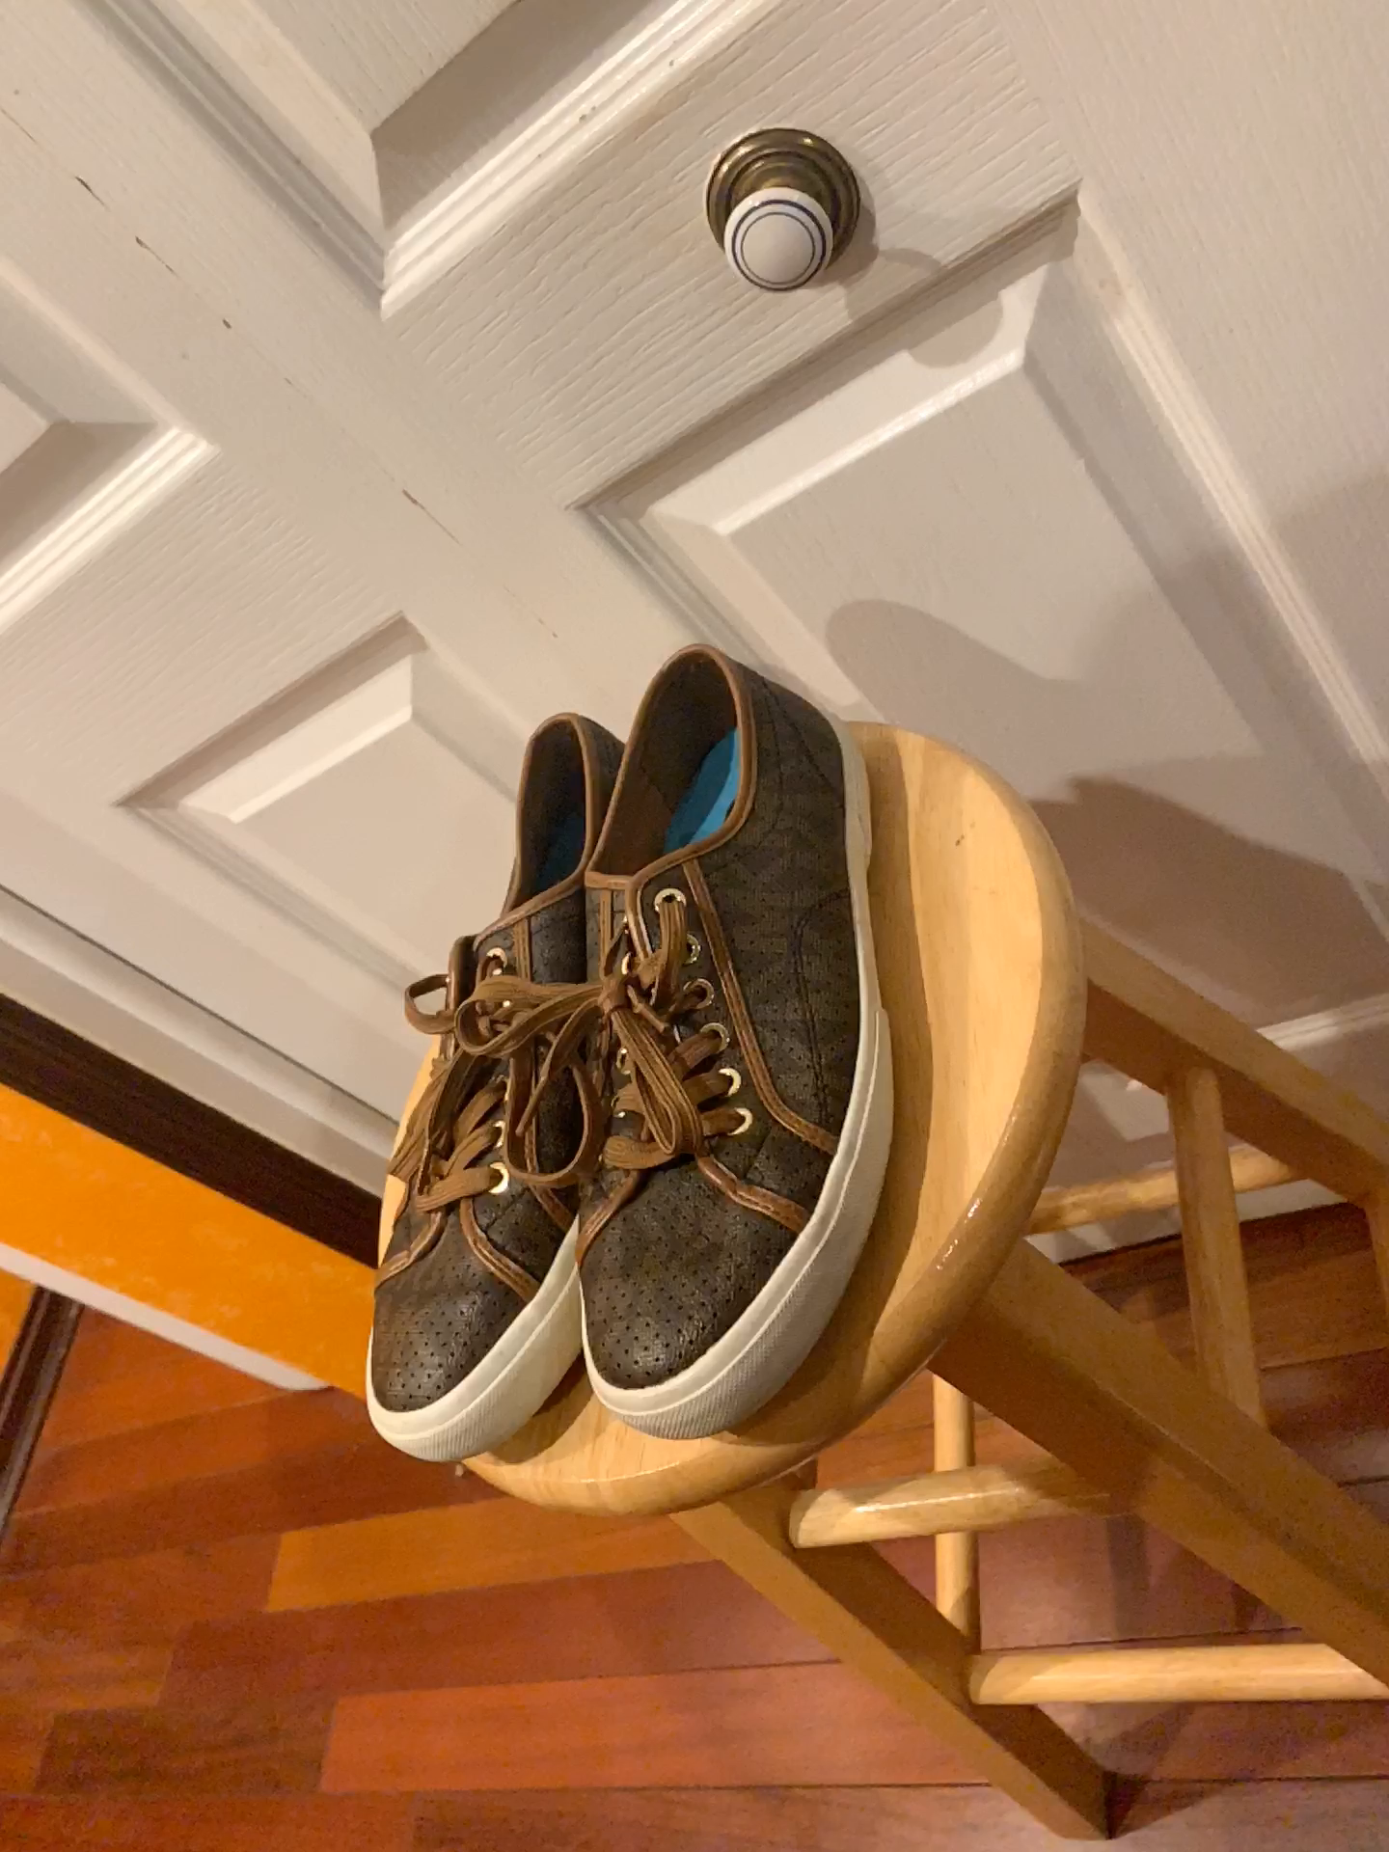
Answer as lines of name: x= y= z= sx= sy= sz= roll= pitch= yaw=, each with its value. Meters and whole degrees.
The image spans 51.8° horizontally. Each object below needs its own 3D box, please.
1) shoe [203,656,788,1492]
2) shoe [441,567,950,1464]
shoe: x=-0.057 y=0.046 z=0.497 sx=0.100 sy=0.089 sz=0.260 roll=-14 pitch=49 yaw=39
shoe: x=0.013 y=0.021 z=0.450 sx=0.100 sy=0.080 sz=0.261 roll=-20 pitch=46 yaw=35
